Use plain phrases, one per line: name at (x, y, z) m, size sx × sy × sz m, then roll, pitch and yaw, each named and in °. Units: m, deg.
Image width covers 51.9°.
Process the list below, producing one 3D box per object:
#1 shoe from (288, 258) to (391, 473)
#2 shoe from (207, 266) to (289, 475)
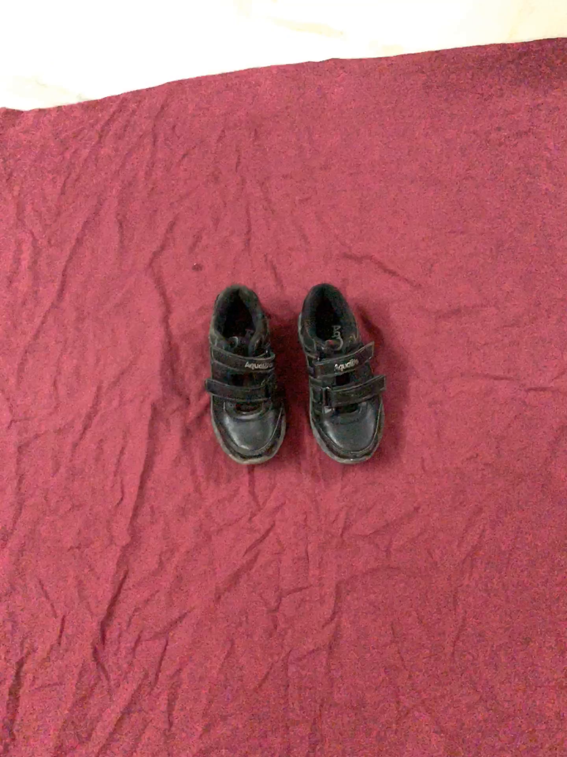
shoe at (0.055, -0.013, 0.623) m, size 0.070 × 0.070 × 0.211 m, roll -8°, pitch 73°, yaw 0°
shoe at (-0.039, -0.008, 0.634) m, size 0.070 × 0.070 × 0.211 m, roll -5°, pitch 73°, yaw 1°
